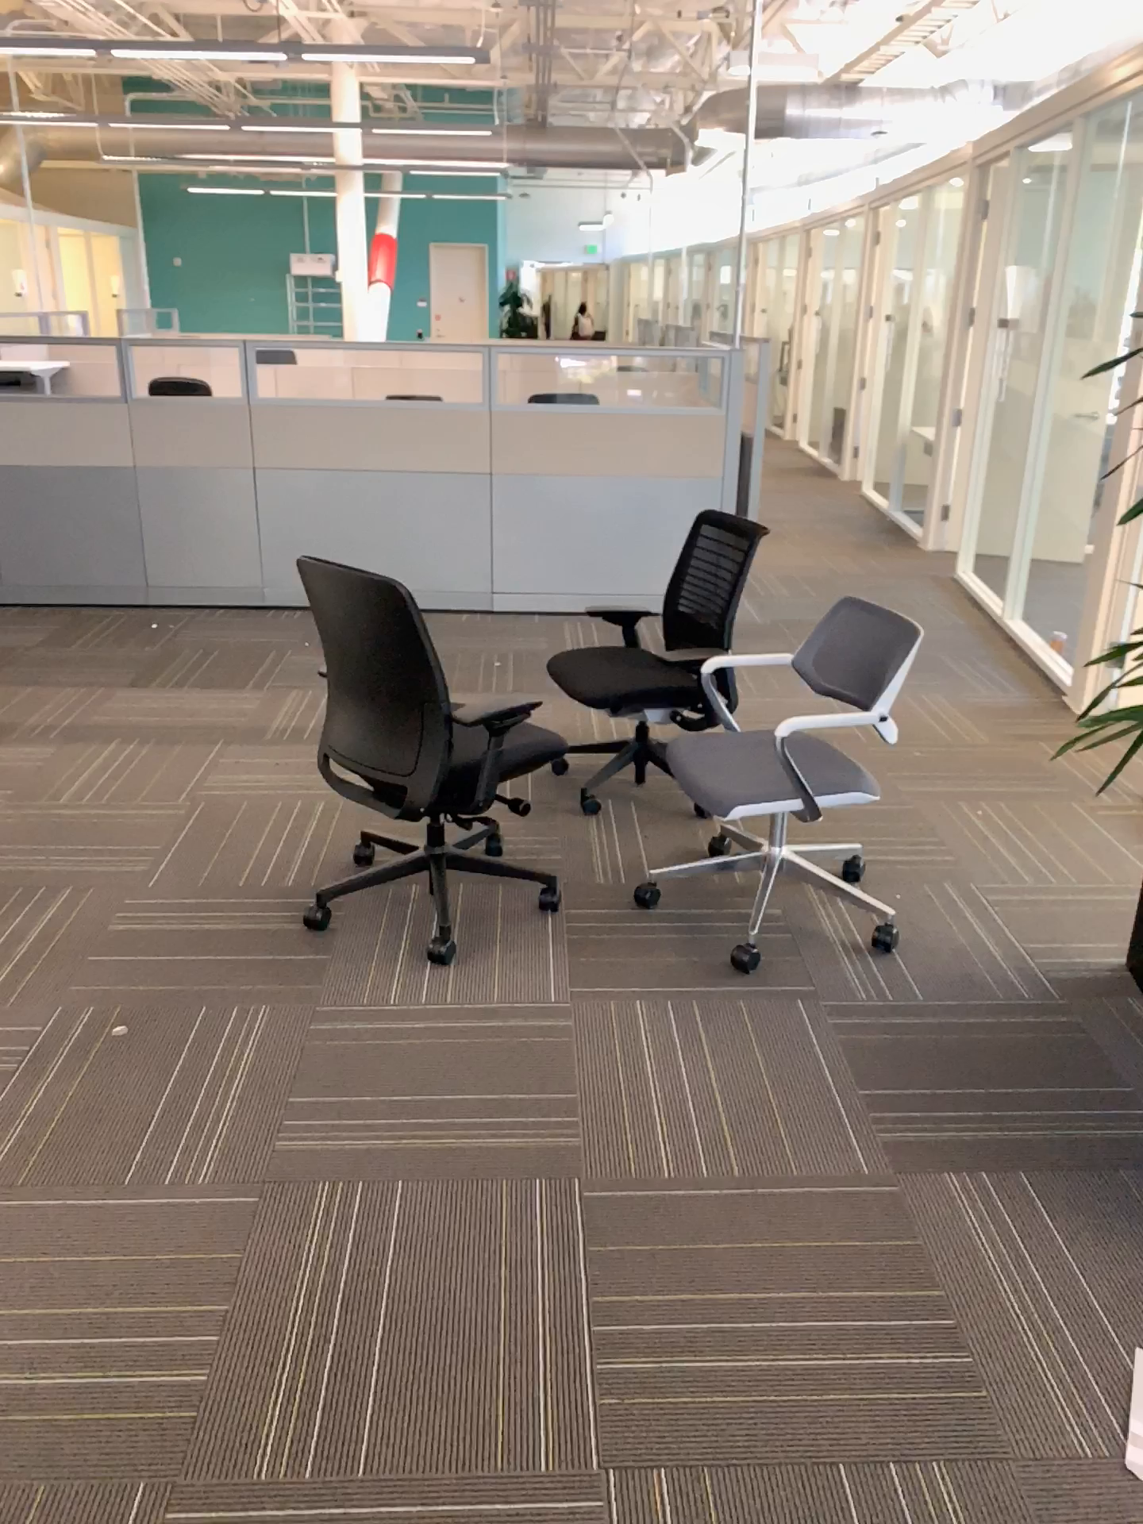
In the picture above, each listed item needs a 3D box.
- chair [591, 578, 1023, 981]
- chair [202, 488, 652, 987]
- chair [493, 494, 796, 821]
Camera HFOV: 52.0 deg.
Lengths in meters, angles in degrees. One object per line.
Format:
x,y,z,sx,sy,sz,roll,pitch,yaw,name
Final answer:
0.535,-0.009,3.010,0.760,0.736,0.774,-5,22,-15,chair
-0.355,-0.134,2.997,0.772,0.955,0.762,20,27,39,chair
0.223,-0.419,4.182,0.760,0.926,0.773,-9,22,-25,chair
